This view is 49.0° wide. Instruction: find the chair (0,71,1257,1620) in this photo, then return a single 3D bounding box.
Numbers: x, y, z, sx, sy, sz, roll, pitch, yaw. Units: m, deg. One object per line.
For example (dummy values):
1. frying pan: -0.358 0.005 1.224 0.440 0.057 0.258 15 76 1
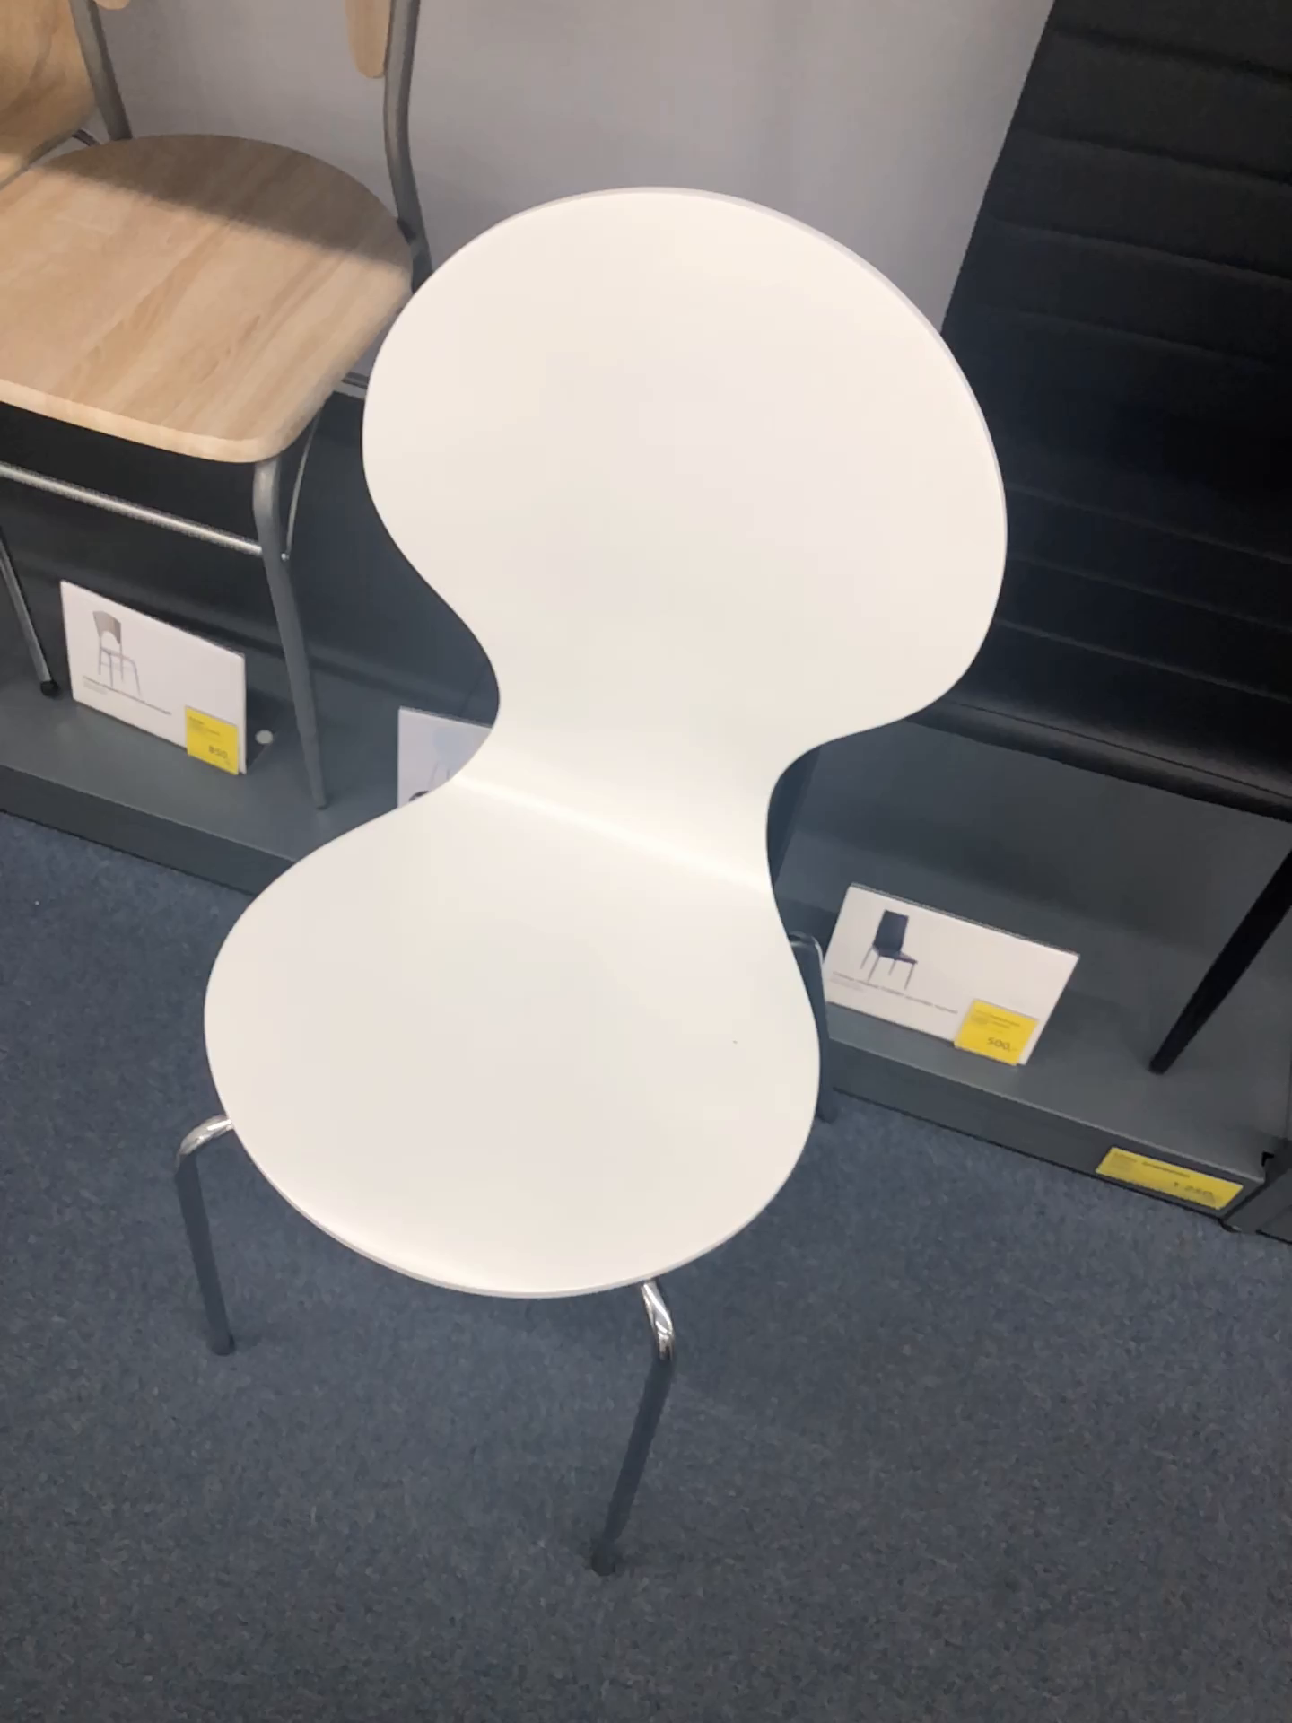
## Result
1. chair: -0.063 0.055 1.047 0.560 0.818 0.642 23 57 9
